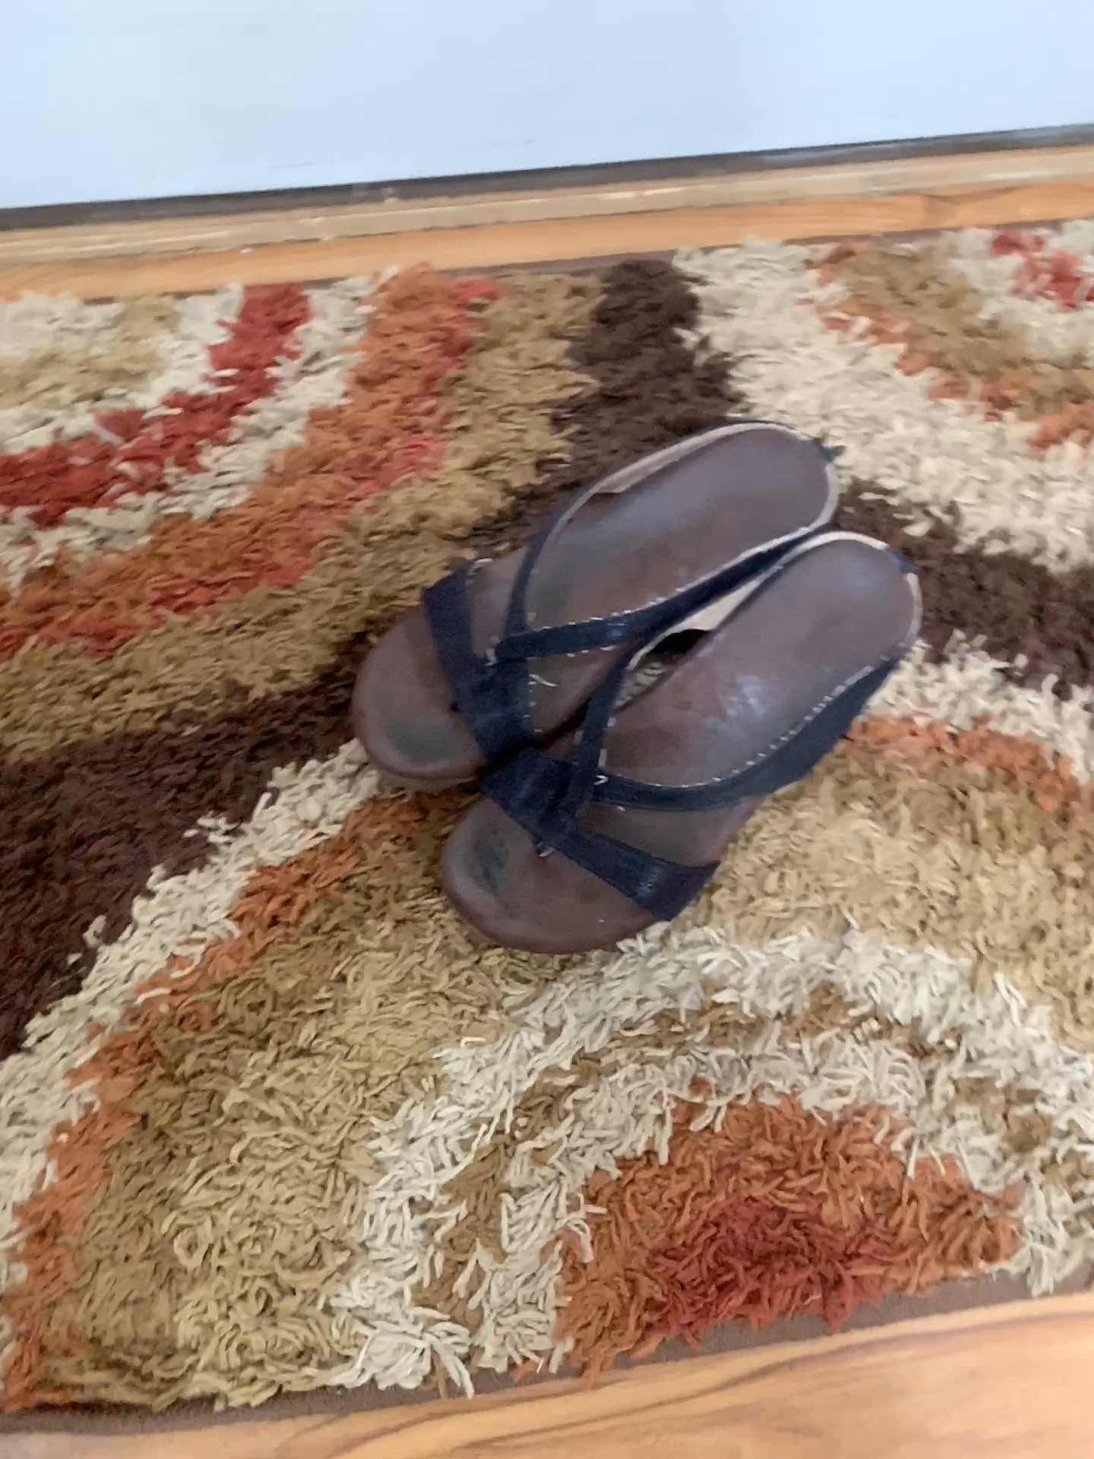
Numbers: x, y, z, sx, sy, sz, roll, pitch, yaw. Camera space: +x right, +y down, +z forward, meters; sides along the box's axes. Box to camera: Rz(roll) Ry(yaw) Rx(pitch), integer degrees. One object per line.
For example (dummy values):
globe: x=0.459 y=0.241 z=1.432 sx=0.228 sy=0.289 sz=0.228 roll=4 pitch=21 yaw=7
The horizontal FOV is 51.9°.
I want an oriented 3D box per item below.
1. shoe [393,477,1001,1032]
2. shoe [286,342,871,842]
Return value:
shoe: x=0.059 y=0.008 z=0.444 sx=0.223 sy=0.062 sz=0.090 roll=-38 pitch=75 yaw=-14
shoe: x=0.016 y=-0.059 z=0.461 sx=0.223 sy=0.052 sz=0.084 roll=-36 pitch=75 yaw=-14
